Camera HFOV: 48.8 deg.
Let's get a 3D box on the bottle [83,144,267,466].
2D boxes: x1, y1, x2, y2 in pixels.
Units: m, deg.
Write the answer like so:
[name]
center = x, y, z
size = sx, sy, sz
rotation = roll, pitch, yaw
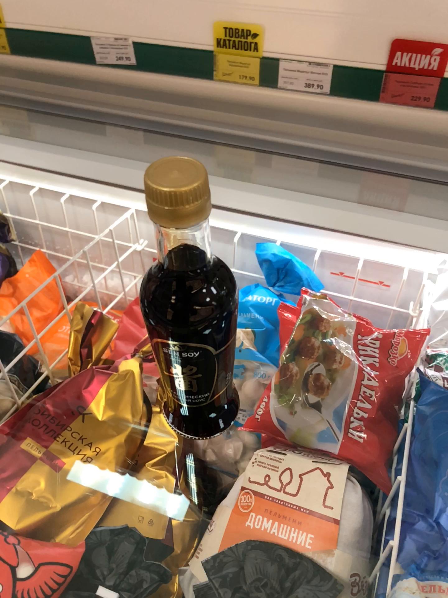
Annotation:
[bottle]
center = -0.021, 0.013, 0.291
size = 0.070, 0.179, 0.070
rotation = 1, 42, -1
